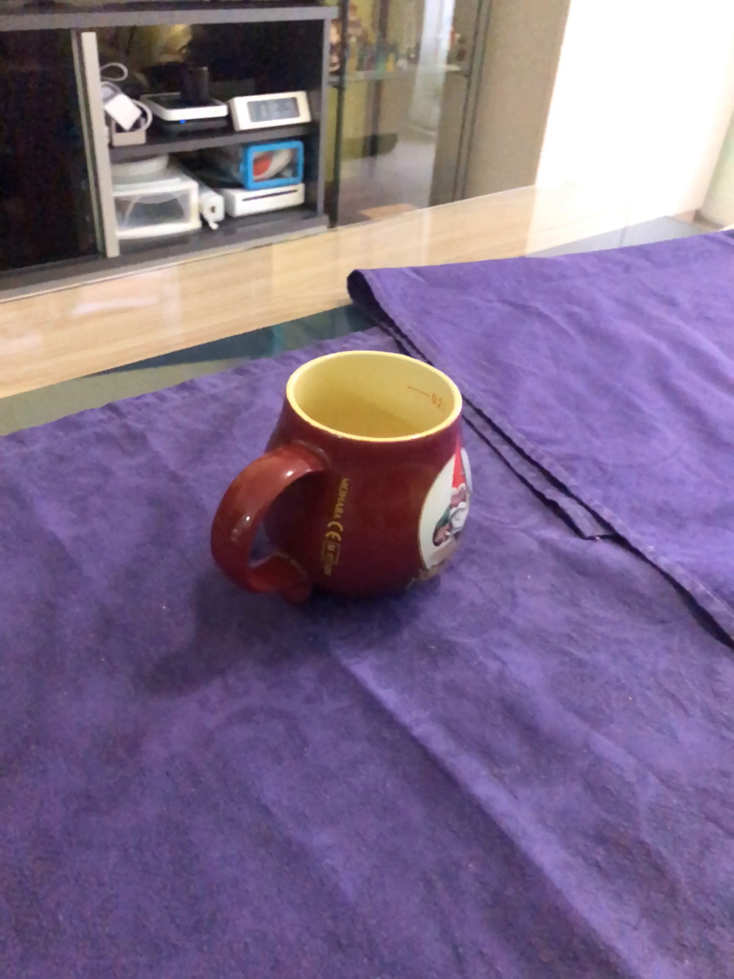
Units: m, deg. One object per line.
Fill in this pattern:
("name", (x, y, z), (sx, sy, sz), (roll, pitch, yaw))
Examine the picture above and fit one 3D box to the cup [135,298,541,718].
("cup", (-0.009, -0.001, 0.308), (0.080, 0.090, 0.120), (30, 43, 30))
